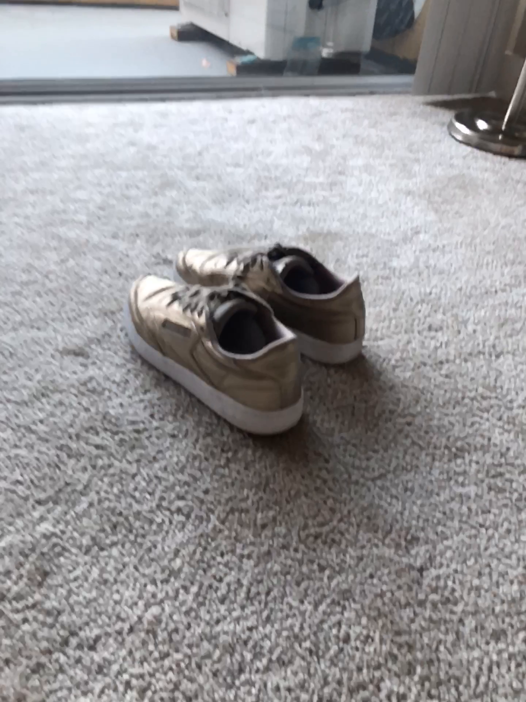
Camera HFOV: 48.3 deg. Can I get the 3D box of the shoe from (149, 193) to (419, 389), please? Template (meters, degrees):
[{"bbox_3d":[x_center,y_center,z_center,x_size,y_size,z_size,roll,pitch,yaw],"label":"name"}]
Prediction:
[{"bbox_3d":[0.011,-0.079,0.635,0.280,0.070,0.110,32,44,30],"label":"shoe"}]

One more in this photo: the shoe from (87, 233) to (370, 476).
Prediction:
[{"bbox_3d":[-0.047,-0.015,0.566,0.110,0.070,0.281,-25,47,-35],"label":"shoe"}]
